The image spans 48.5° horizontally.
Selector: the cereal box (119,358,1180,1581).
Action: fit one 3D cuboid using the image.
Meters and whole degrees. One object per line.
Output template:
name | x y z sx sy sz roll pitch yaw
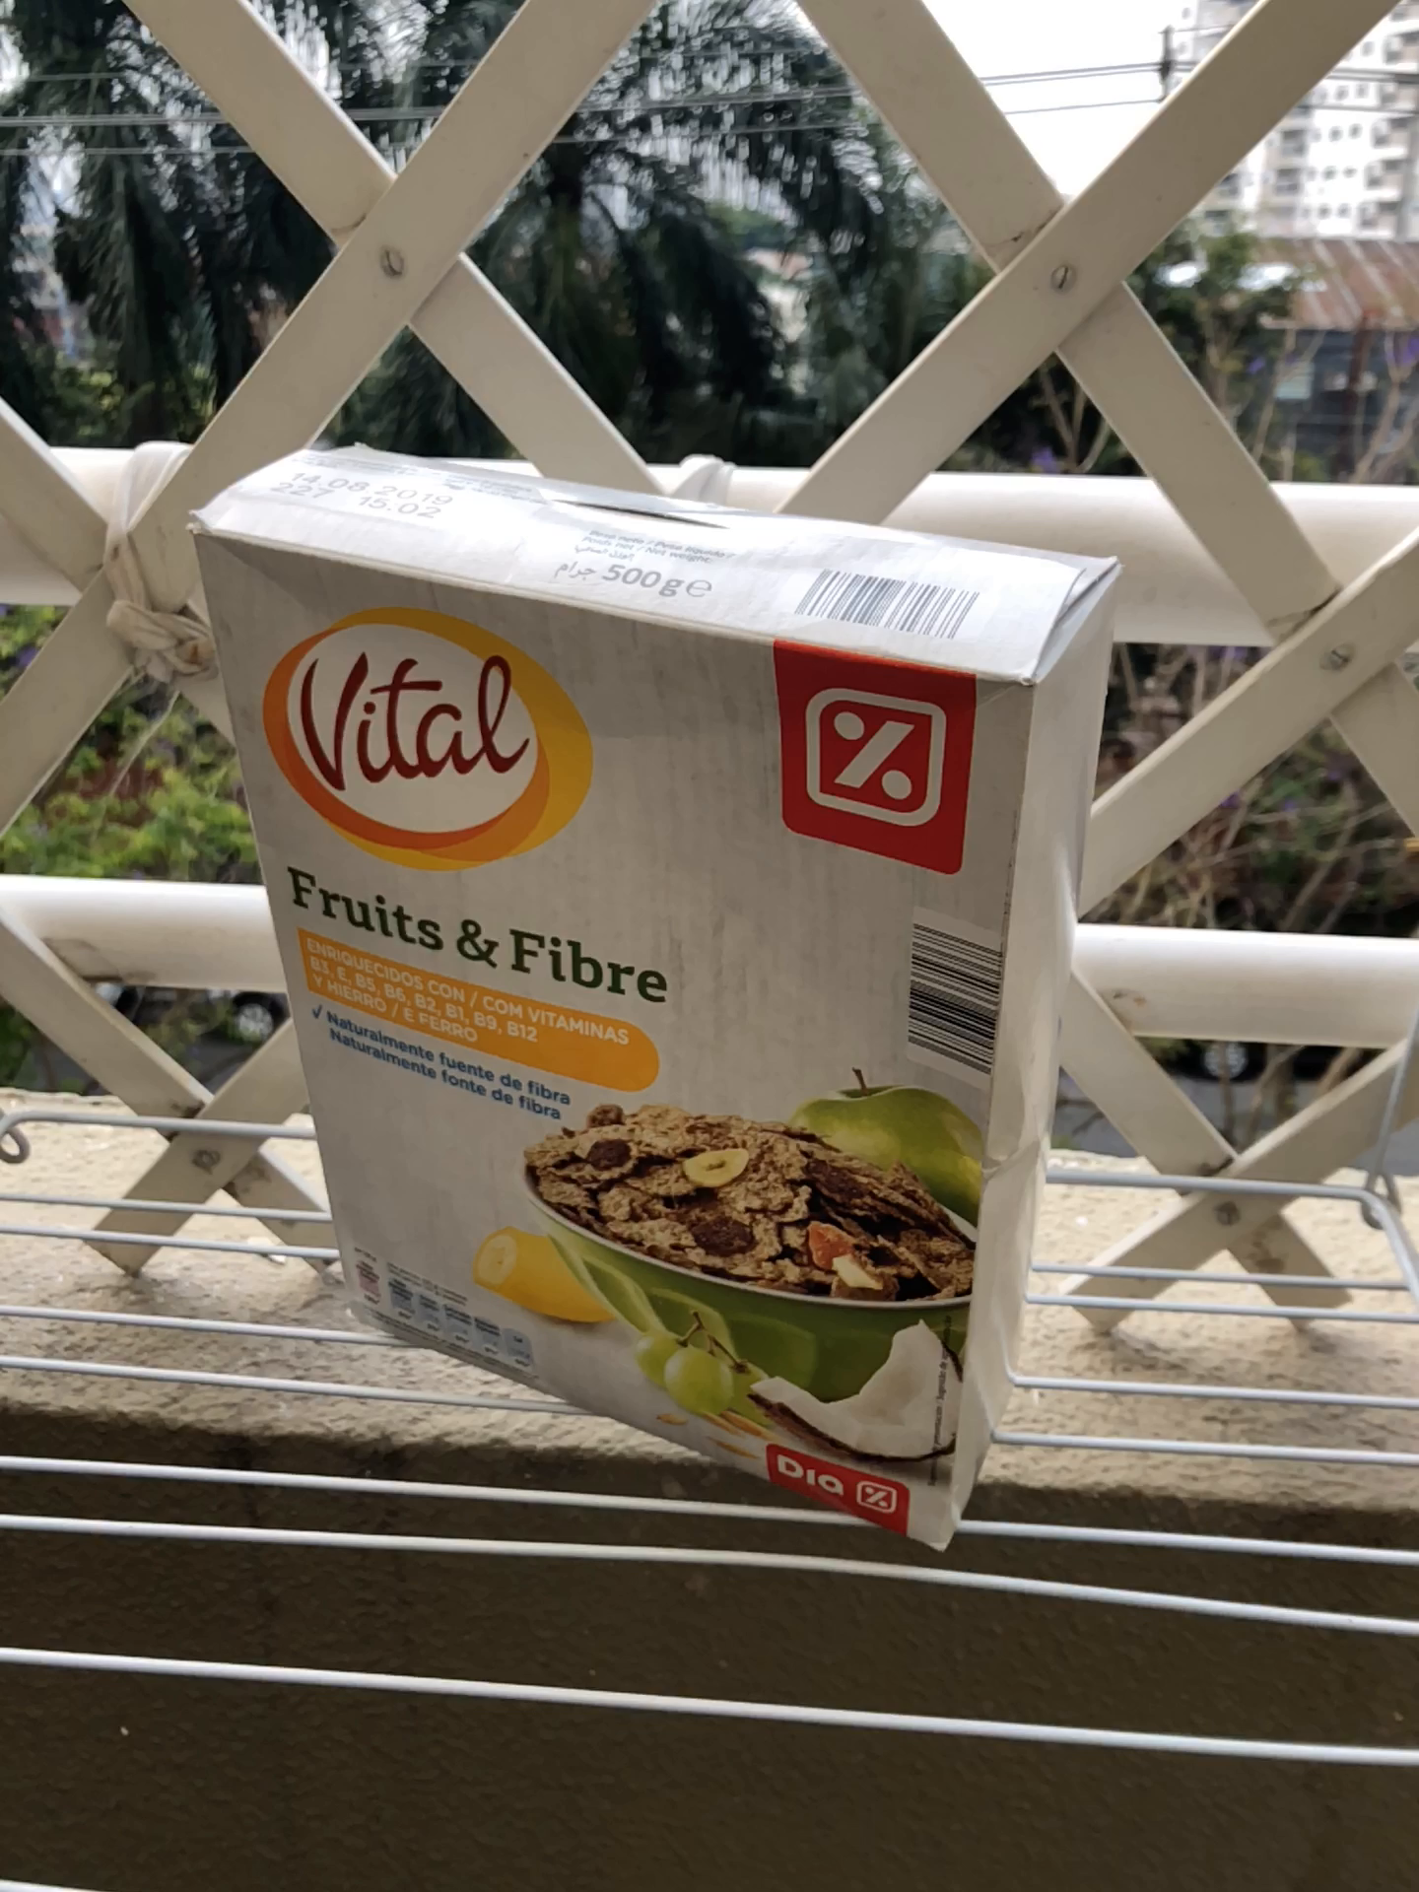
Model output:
cereal box | -0.014 0.009 0.397 0.210 0.268 0.070 15 37 23
